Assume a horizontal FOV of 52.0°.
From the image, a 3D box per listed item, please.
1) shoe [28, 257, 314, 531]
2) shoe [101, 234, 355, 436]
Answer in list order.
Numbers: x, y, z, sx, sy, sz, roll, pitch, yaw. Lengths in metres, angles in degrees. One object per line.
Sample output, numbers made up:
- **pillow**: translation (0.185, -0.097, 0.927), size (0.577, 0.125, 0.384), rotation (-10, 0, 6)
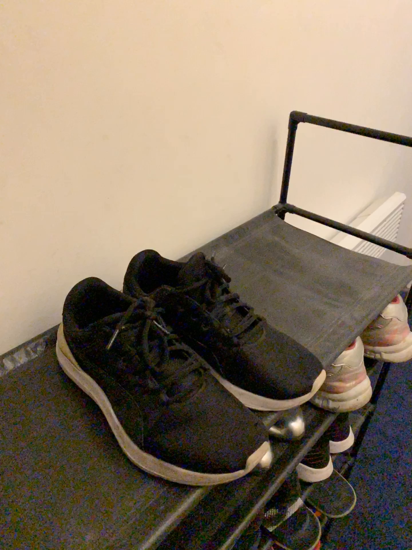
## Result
- **shoe**: translation (-0.041, 0.085, 0.391), size (0.241, 0.089, 0.111), rotation (26, 42, 33)
- **shoe**: translation (0.012, 0.046, 0.472), size (0.261, 0.069, 0.111), rotation (26, 42, 33)
